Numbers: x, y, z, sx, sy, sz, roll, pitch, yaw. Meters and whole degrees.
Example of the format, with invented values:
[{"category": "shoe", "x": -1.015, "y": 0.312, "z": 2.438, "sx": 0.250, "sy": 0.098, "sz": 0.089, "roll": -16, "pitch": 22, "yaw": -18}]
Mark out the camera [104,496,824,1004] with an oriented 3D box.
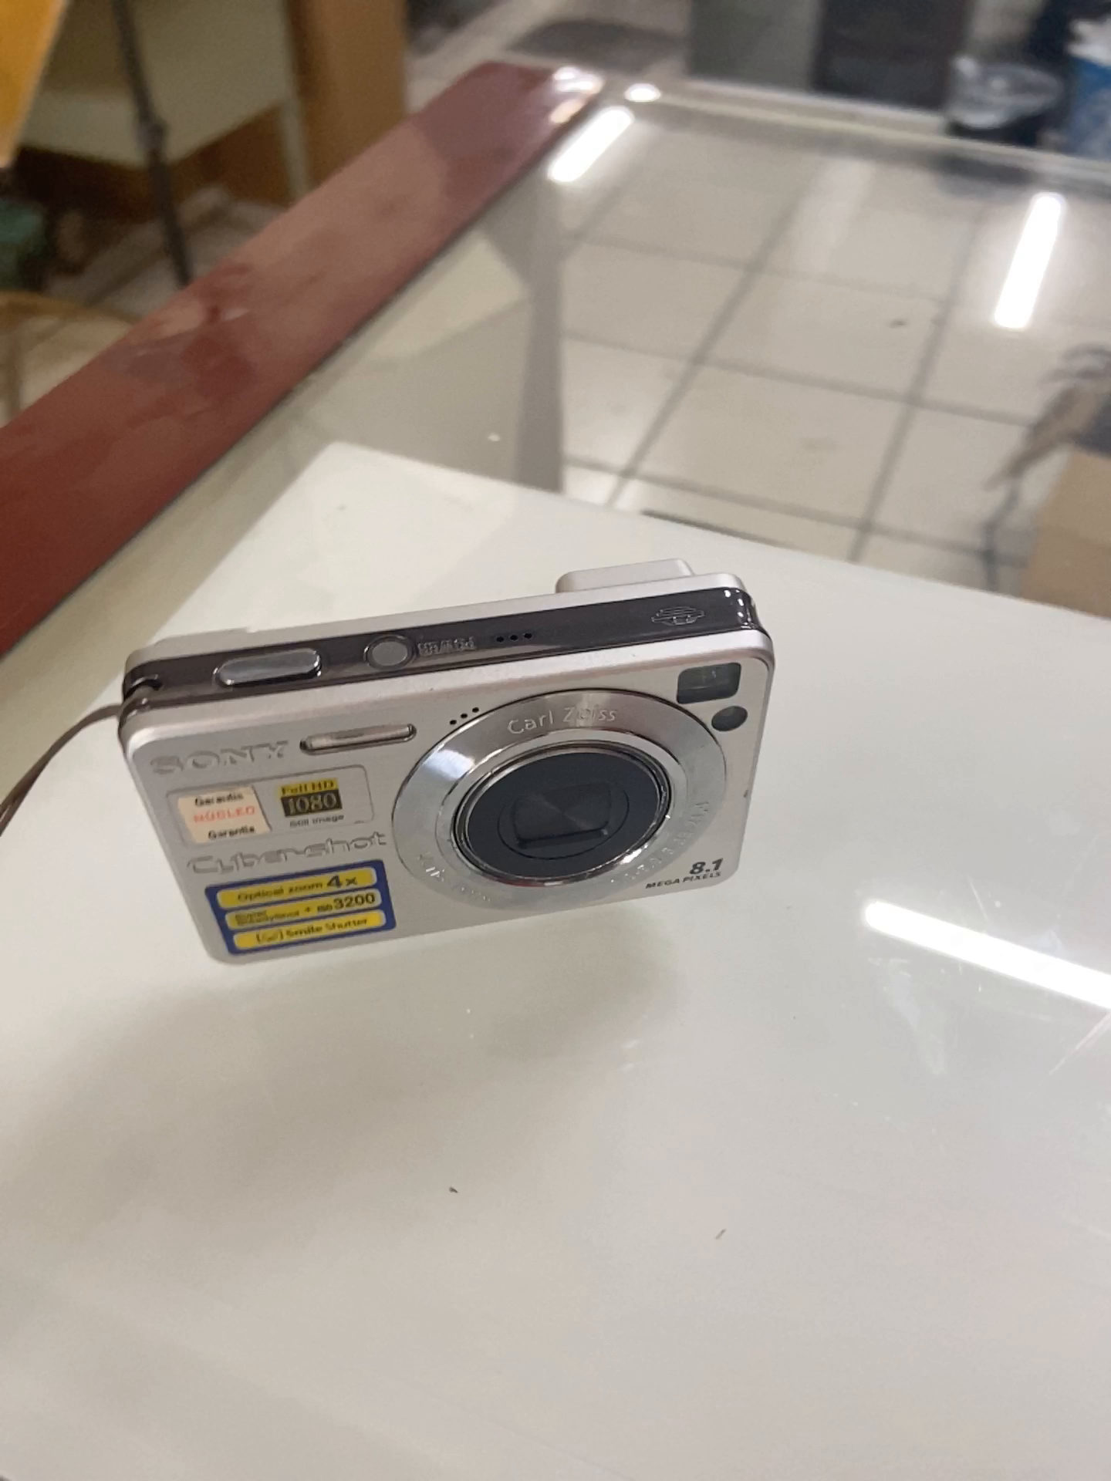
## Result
[{"category": "camera", "x": -0.012, "y": 0.003, "z": 0.176, "sx": 0.090, "sy": 0.060, "sz": 0.030, "roll": -9, "pitch": 47, "yaw": -8}]
